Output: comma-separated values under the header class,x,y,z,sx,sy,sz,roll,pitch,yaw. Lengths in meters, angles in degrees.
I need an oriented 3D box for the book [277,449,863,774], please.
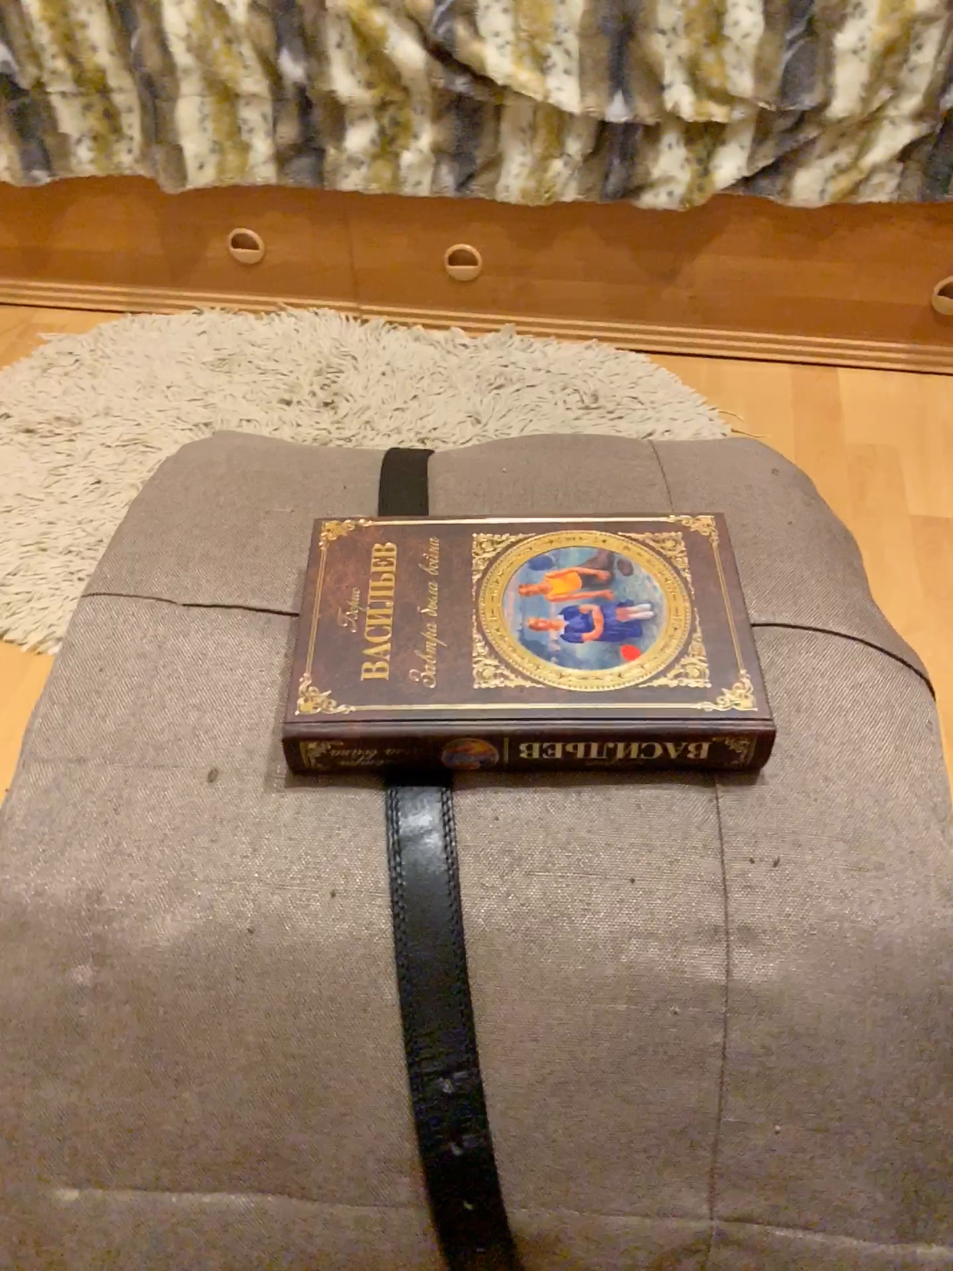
class,x,y,z,sx,sy,sz,roll,pitch,yaw
book,0.034,-0.014,0.428,0.220,0.050,0.141,1,50,-3
